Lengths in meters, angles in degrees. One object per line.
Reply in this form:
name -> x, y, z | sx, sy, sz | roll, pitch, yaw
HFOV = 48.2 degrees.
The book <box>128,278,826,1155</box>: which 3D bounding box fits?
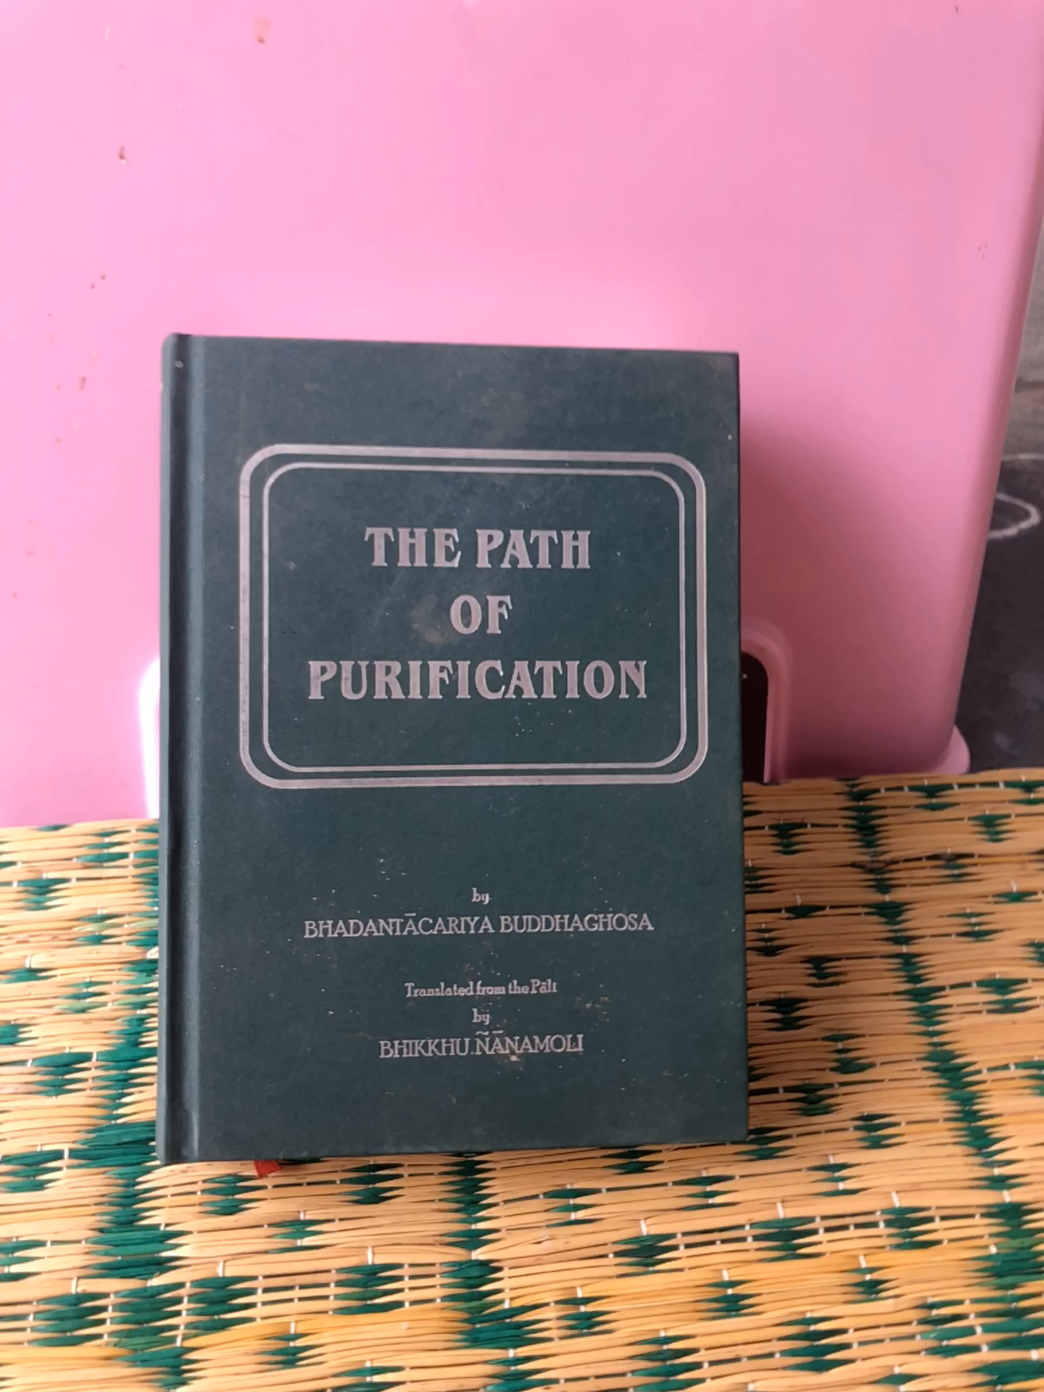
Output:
book -> -0.012, 0.004, 0.322 | 0.160, 0.080, 0.210 | 0, 82, -3
